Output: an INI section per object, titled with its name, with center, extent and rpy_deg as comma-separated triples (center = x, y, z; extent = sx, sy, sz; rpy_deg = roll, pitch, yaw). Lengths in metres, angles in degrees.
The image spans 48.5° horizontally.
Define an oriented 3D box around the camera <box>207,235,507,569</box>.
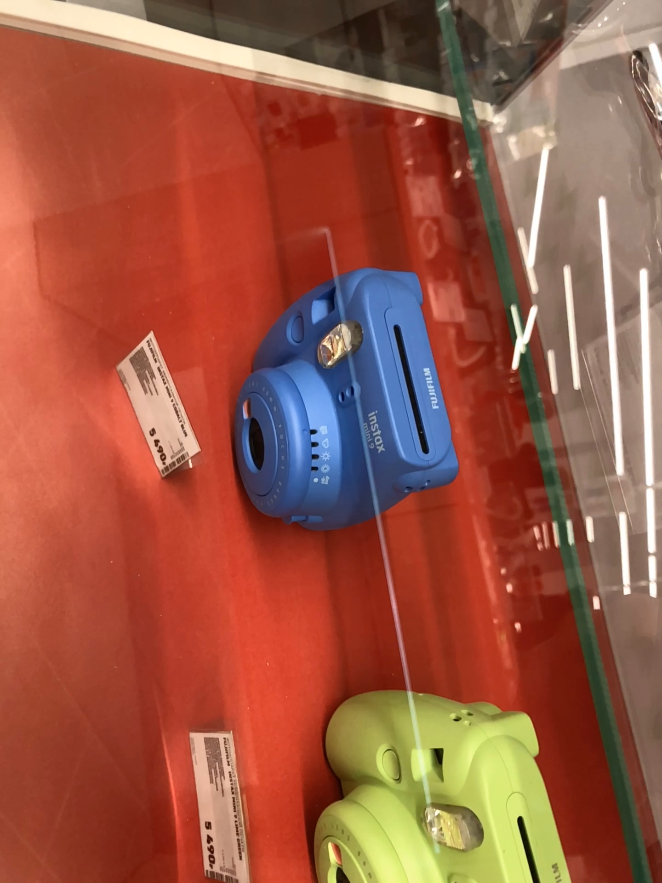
[camera]
center = 0.004, -0.014, 0.349
extent = 0.070, 0.110, 0.122
rpy_deg = -9, 78, -30
